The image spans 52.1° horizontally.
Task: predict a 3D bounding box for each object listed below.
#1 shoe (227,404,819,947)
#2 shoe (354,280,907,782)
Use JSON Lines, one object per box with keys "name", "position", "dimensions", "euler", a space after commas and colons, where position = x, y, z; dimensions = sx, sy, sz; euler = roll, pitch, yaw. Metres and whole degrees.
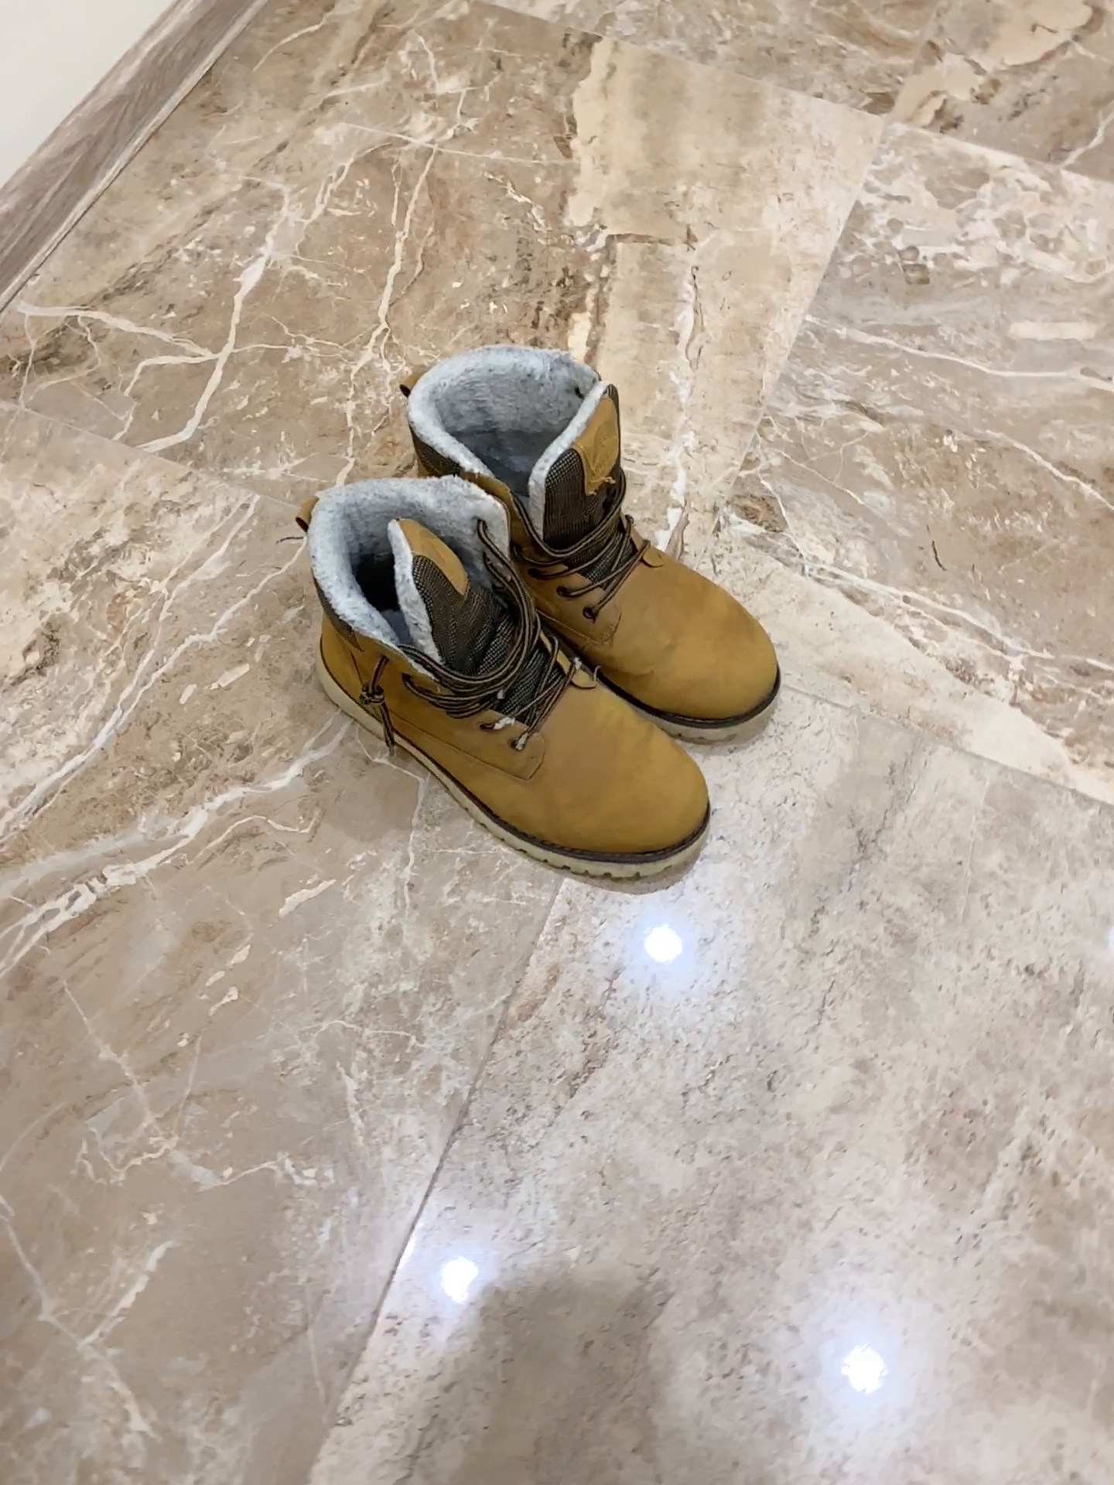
{"name": "shoe", "position": [-0.022, -0.034, 0.645], "dimensions": [0.280, 0.160, 0.120], "euler": [33, 67, 13]}
{"name": "shoe", "position": [0.035, -0.124, 0.679], "dimensions": [0.280, 0.140, 0.120], "euler": [33, 67, 13]}
